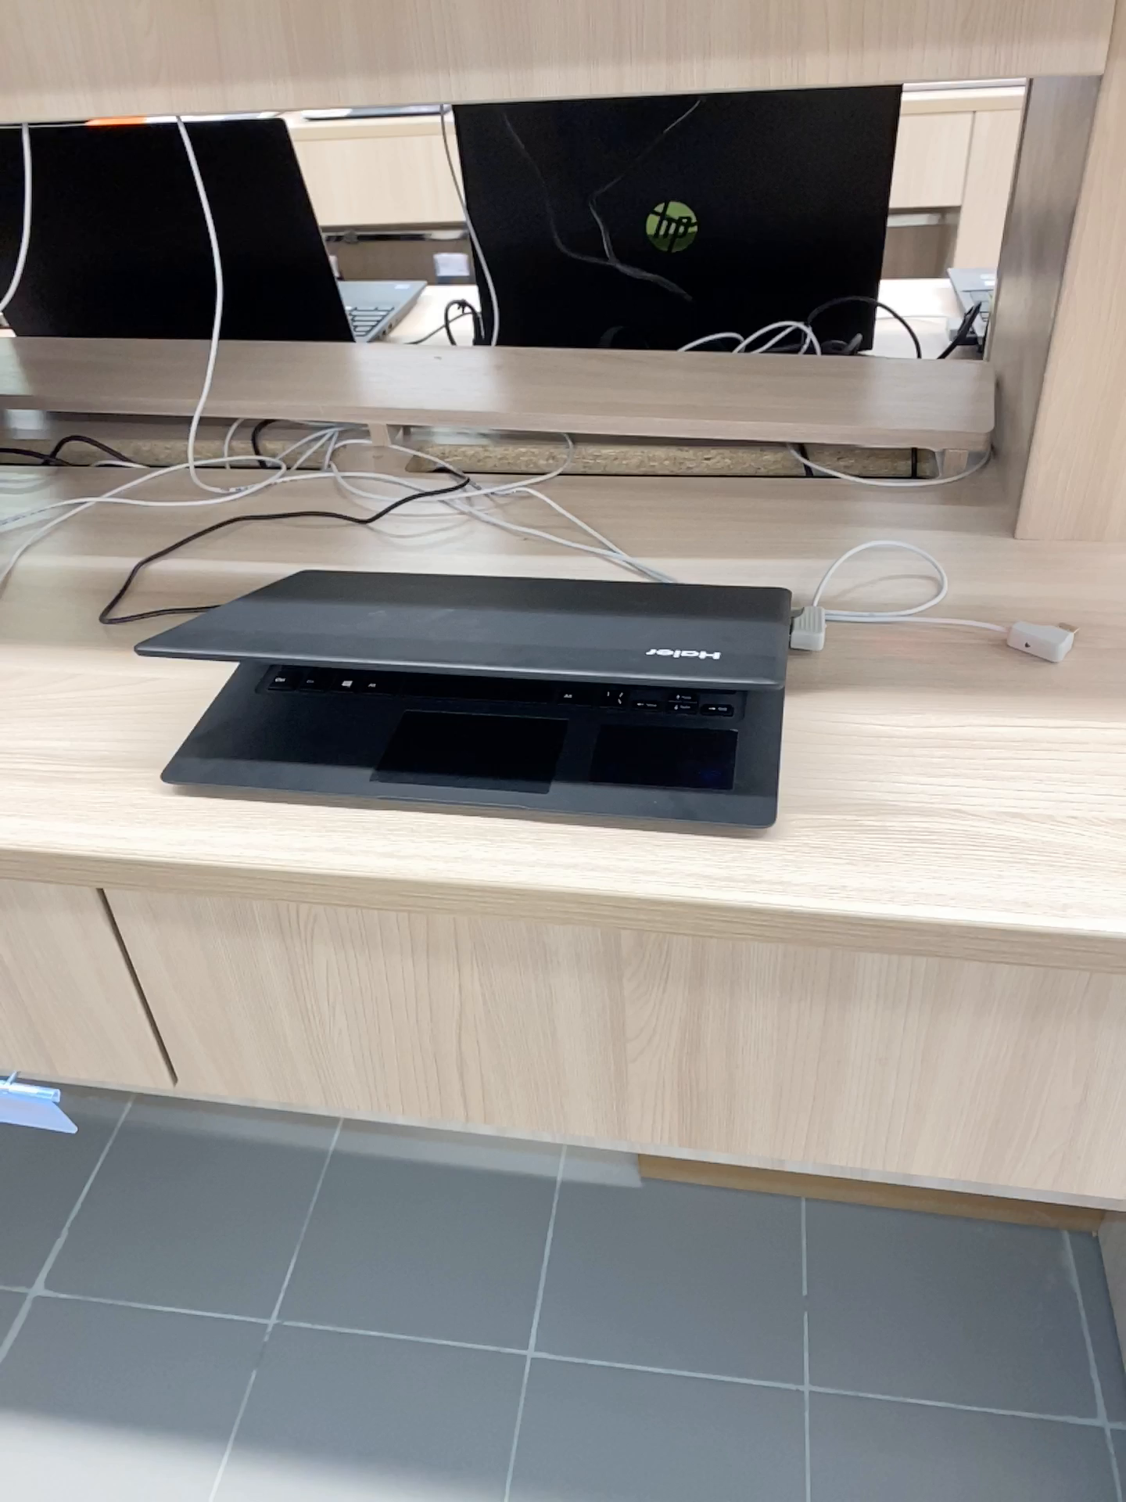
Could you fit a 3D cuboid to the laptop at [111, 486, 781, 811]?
[{"bbox_3d":[-0.047,-0.070,0.642,0.319,0.071,0.202,3,37,11],"label":"laptop"}]
